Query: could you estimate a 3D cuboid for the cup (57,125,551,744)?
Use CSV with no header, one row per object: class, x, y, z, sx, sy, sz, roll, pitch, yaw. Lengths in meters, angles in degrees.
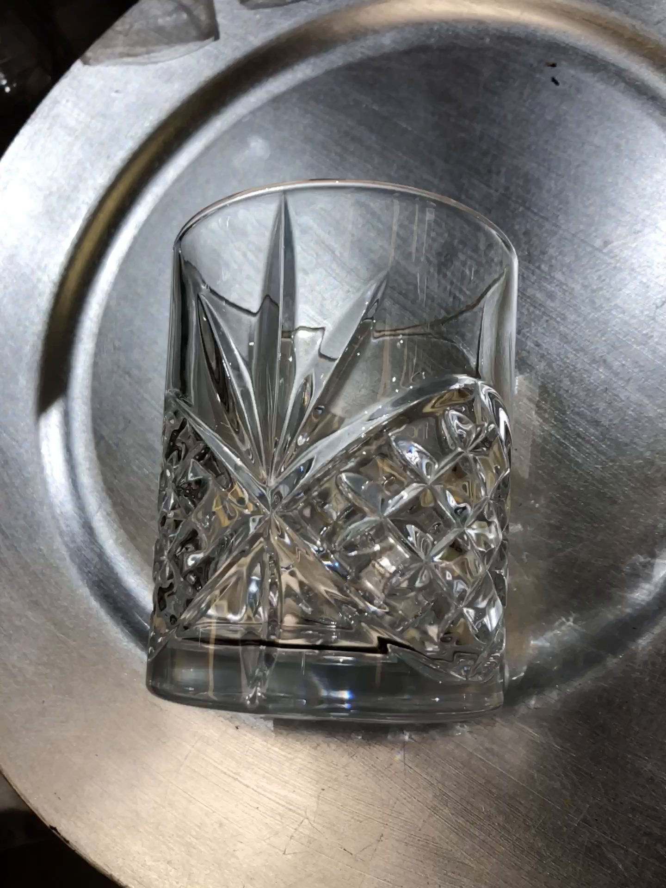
cup,0.000,0.002,0.159,0.080,0.060,0.100,-3,76,21
